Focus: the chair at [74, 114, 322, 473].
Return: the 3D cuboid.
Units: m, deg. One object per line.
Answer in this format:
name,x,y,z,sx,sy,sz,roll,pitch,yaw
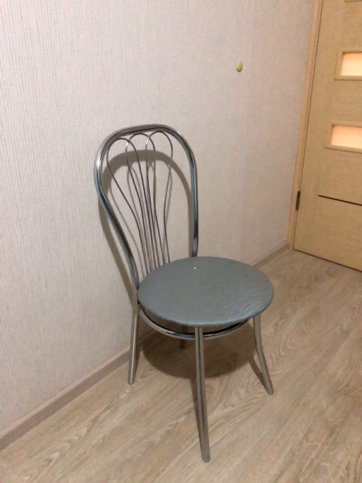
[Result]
chair,0.037,0.094,1.145,0.471,0.825,0.401,21,31,40
